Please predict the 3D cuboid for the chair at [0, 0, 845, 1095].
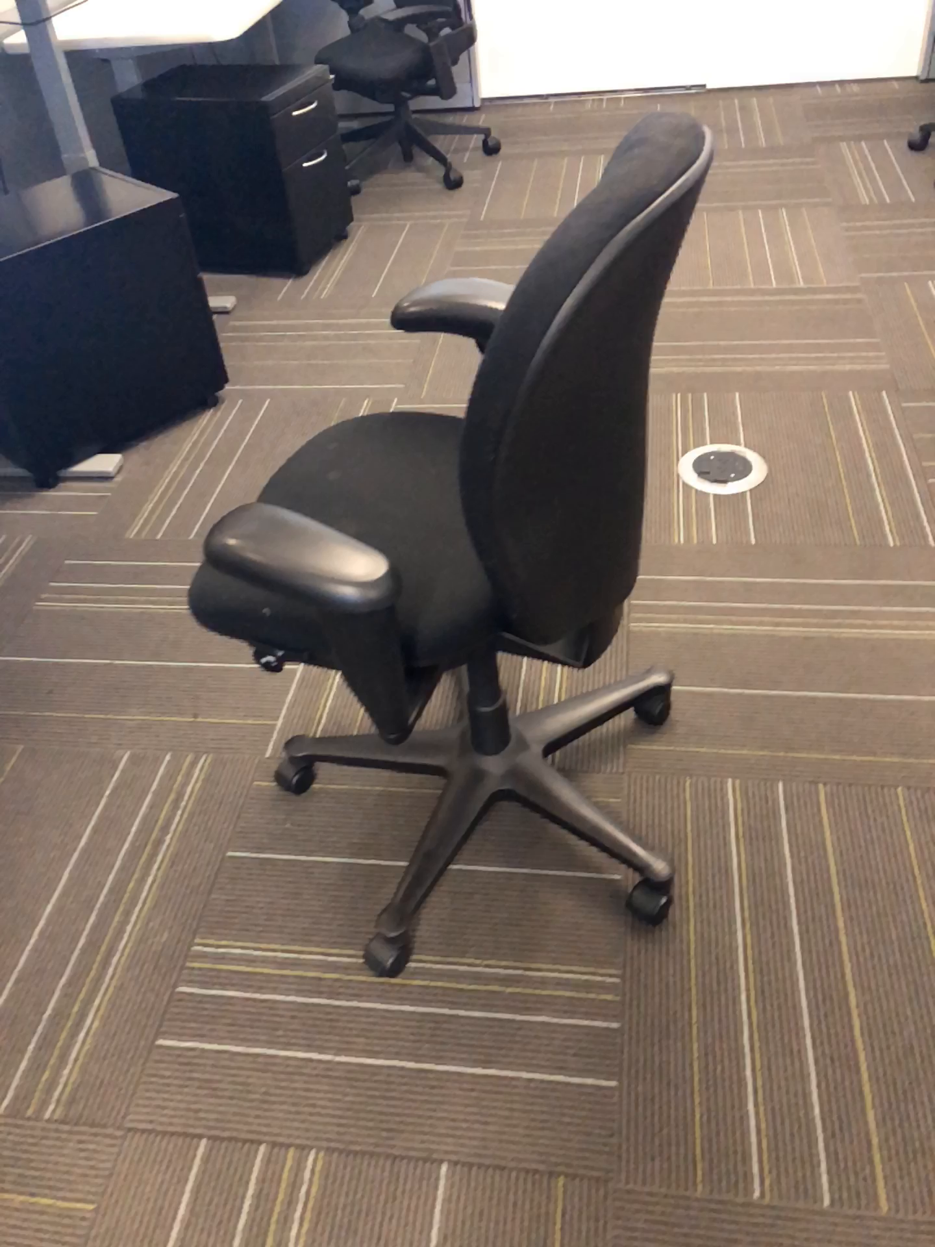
[{"bbox_3d":[-0.036,-0.118,1.232,0.681,0.995,0.702,13,45,22],"label":"chair"}]
